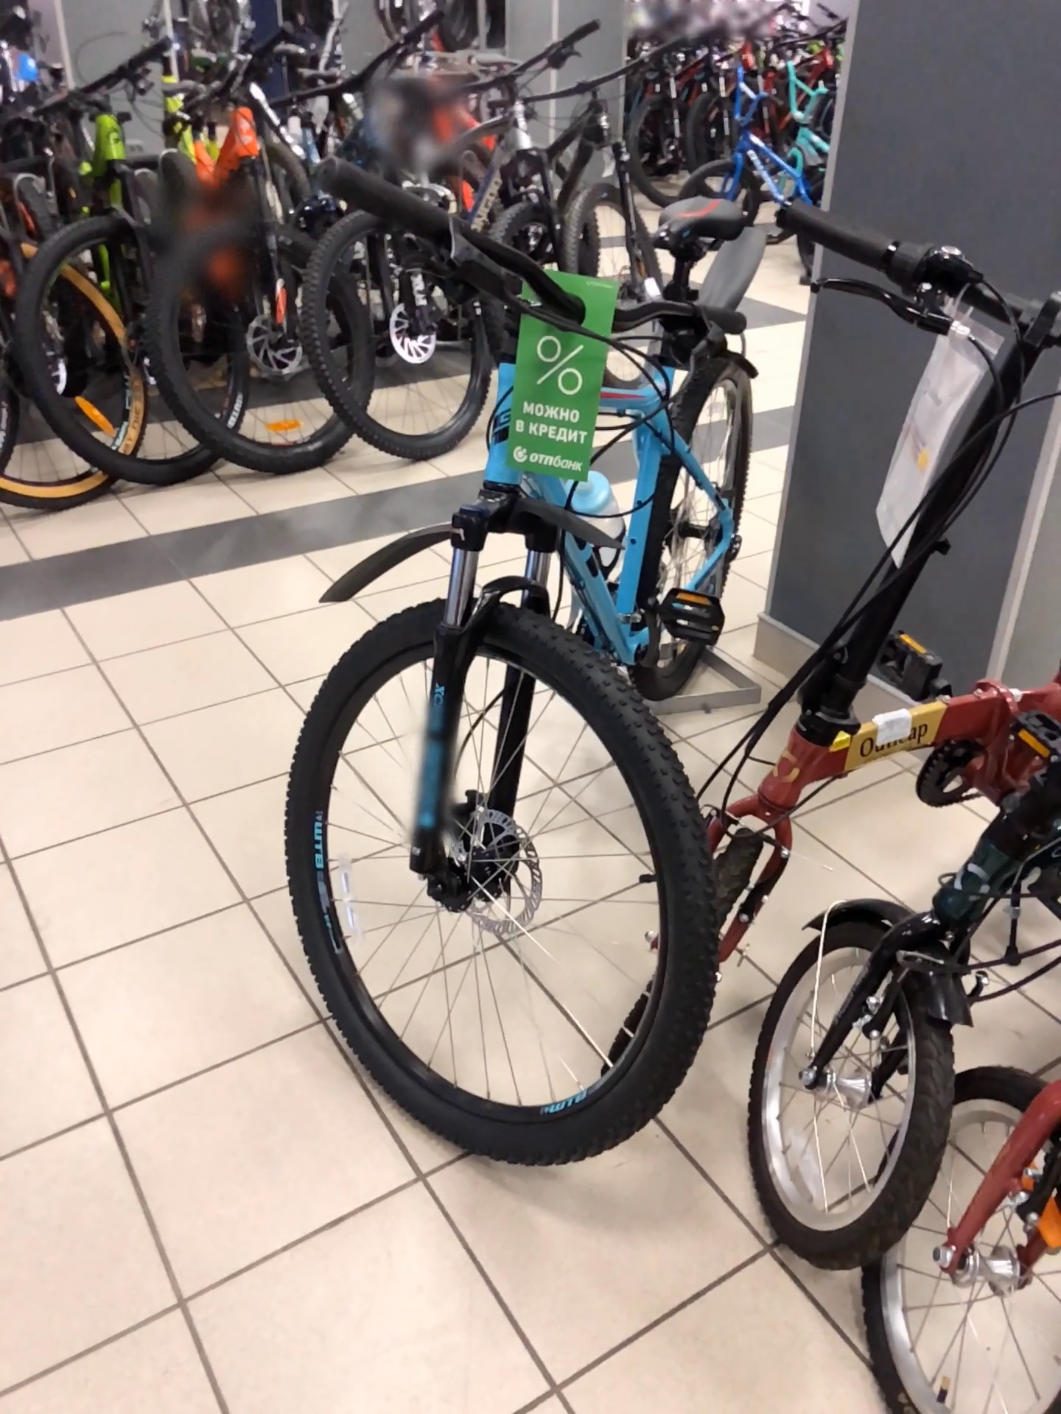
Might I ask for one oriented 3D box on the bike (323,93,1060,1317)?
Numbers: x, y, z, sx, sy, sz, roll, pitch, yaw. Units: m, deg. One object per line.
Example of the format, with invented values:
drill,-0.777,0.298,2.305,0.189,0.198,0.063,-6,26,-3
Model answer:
bike,0.285,-0.260,1.809,0.691,1.084,1.619,6,32,9
